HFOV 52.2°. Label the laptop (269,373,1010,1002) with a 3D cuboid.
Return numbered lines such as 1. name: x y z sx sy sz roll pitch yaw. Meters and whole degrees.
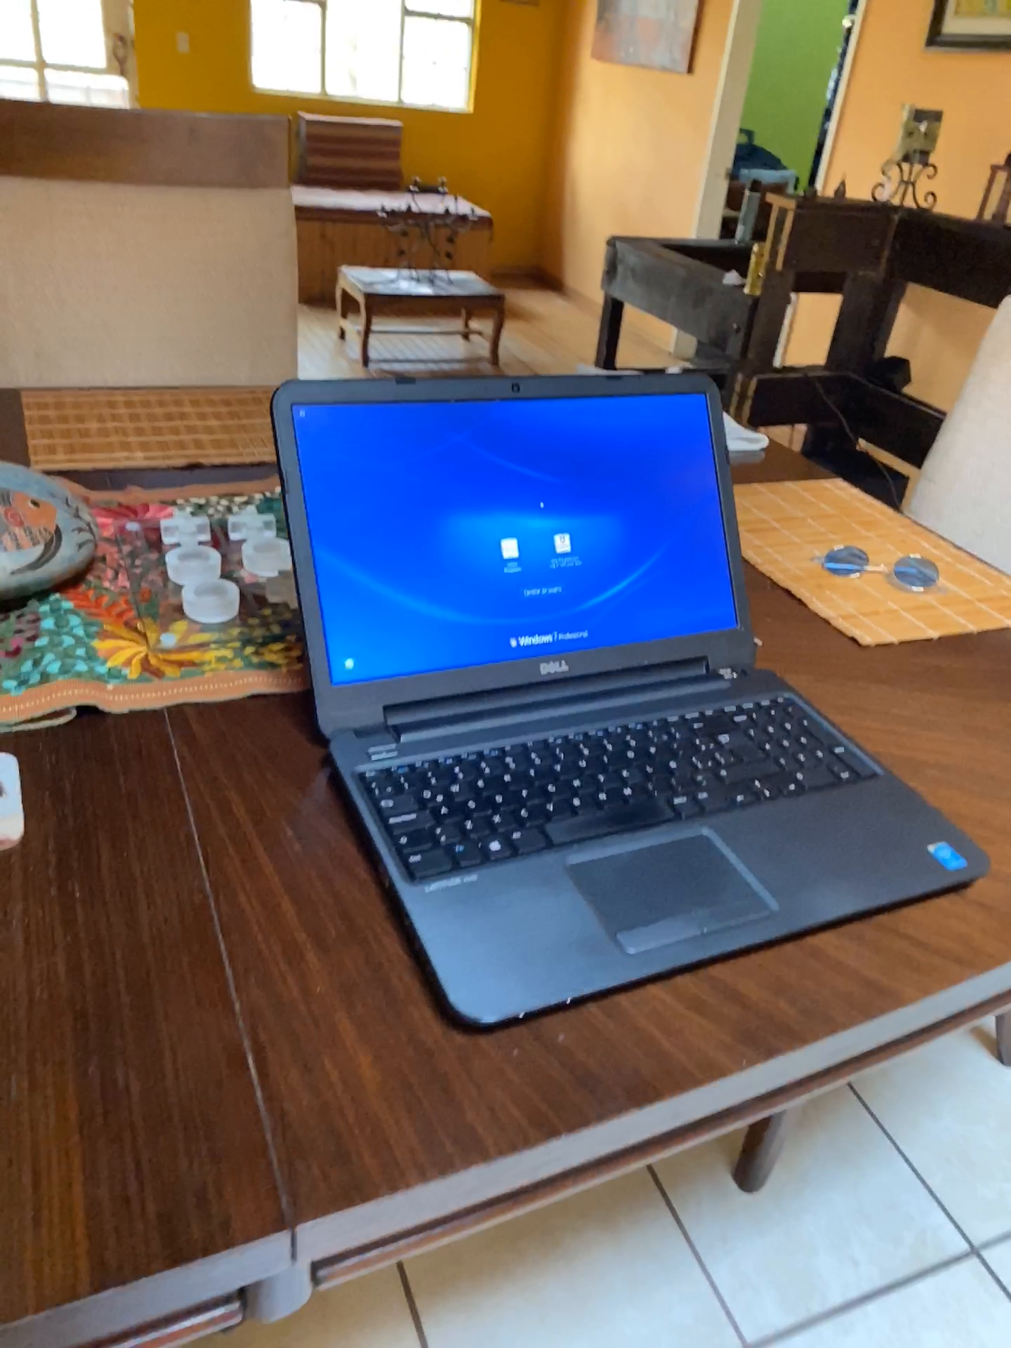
1. laptop: 0.074 -0.044 0.695 0.368 0.194 0.397 -8 35 -25
